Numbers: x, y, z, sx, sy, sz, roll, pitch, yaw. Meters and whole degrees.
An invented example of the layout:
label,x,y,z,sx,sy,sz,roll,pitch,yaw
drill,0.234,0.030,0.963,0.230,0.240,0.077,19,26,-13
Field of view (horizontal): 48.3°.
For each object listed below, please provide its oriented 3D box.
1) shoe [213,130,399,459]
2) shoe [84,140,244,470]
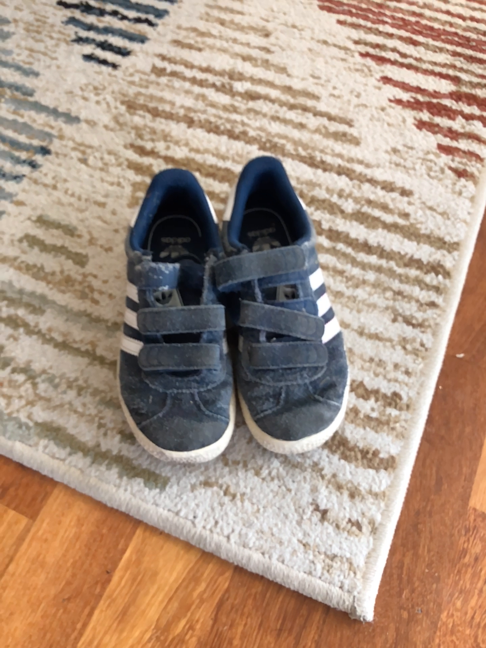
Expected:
label,x,y,z,sx,sy,sz,roll,pitch,yaw
shoe,0.031,-0.029,0.363,0.086,0.052,0.219,-4,63,-3
shoe,-0.049,-0.021,0.358,0.084,0.053,0.217,-3,63,-2
